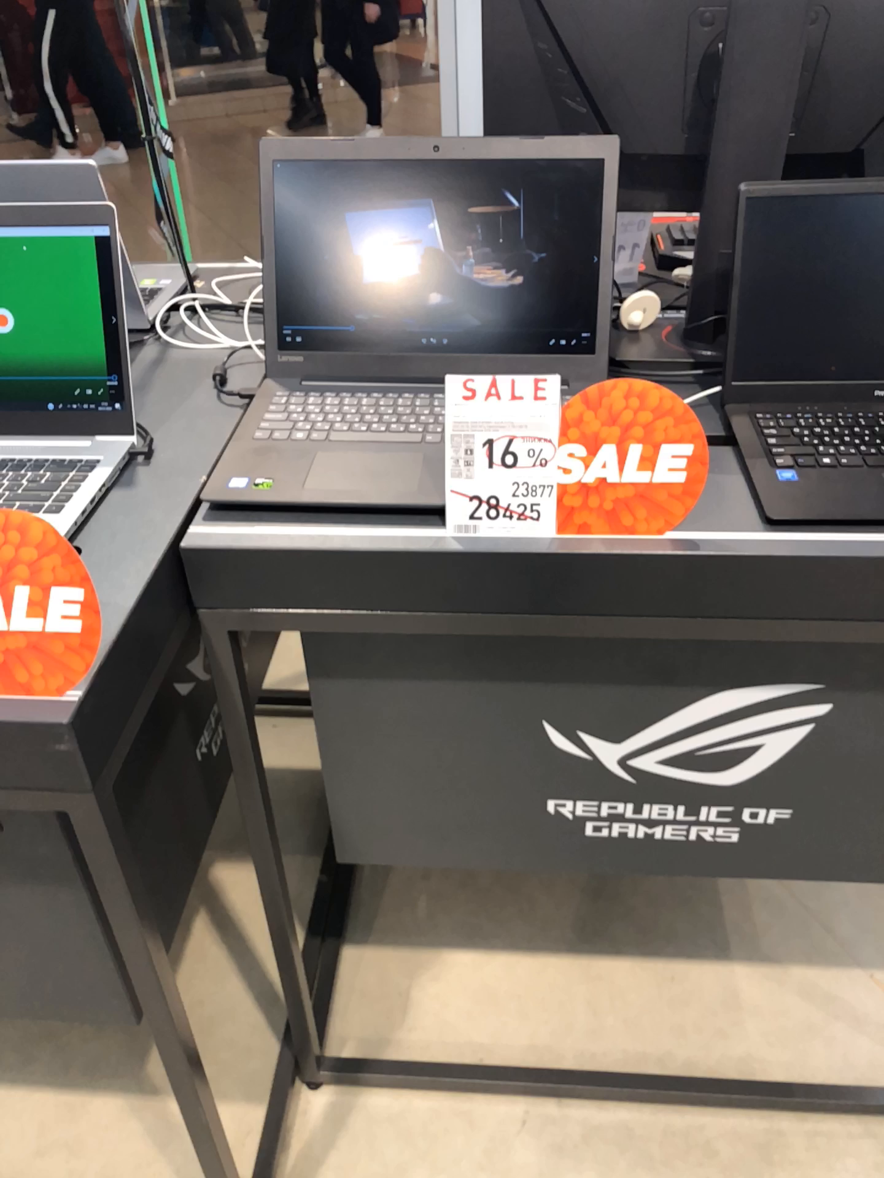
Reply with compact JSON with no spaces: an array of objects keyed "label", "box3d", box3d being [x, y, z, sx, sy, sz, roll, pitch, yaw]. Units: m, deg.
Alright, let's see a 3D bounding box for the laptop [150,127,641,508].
[{"label":"laptop","box3d":[-0.018,-0.279,0.951,0.382,0.235,0.336,2,37,6]}]
